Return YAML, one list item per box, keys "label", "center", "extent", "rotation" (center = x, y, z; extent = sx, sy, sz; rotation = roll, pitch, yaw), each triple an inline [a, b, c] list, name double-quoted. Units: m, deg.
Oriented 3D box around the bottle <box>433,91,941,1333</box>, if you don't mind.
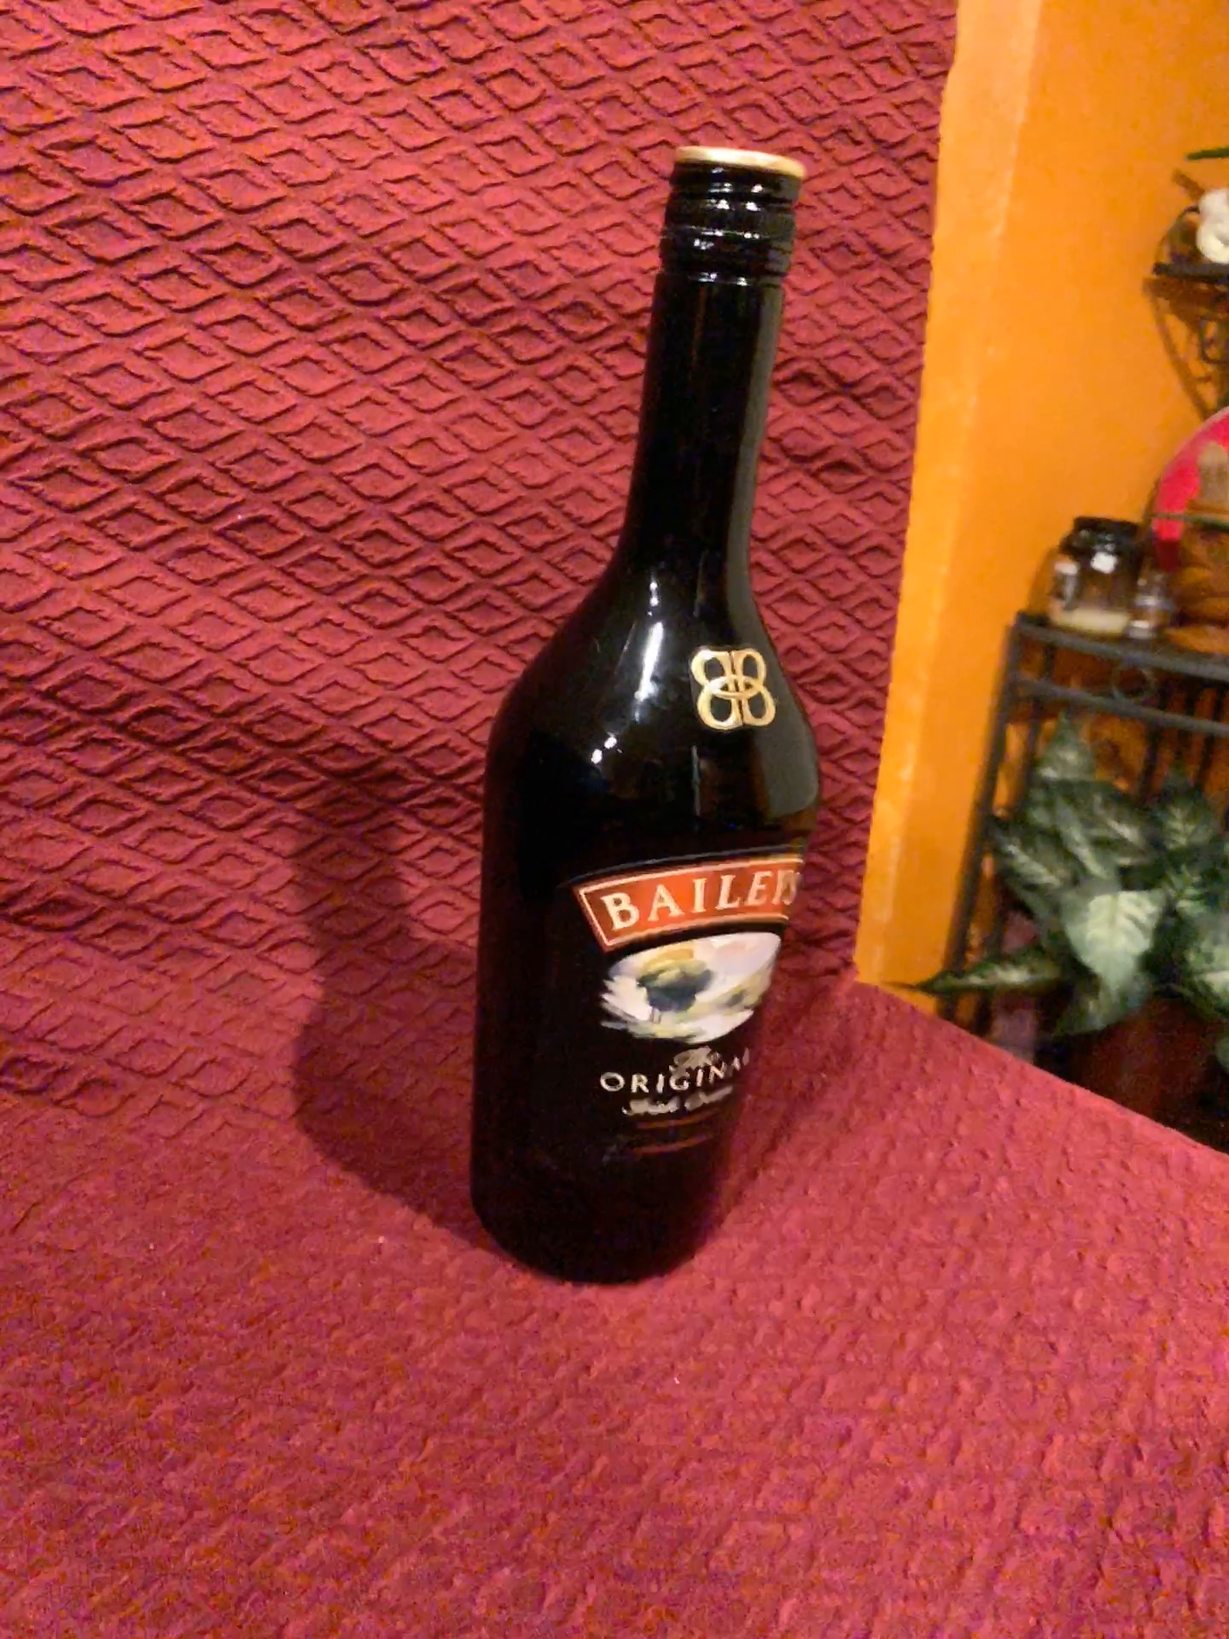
- label: "bottle"
  center: [0.008, -0.017, 0.336]
  extent: [0.080, 0.289, 0.070]
  rotation: [-5, 22, -28]
